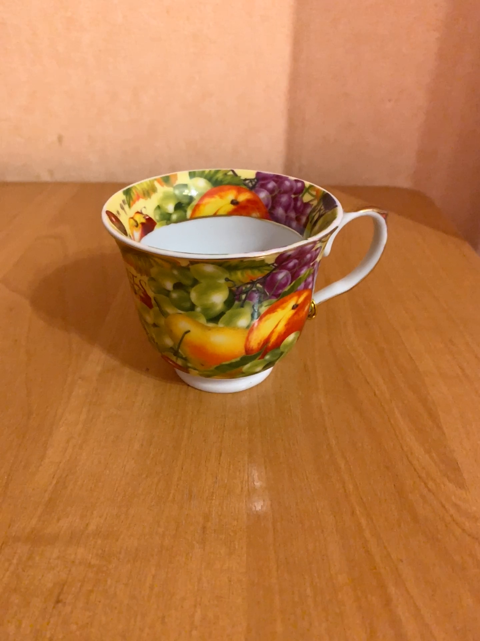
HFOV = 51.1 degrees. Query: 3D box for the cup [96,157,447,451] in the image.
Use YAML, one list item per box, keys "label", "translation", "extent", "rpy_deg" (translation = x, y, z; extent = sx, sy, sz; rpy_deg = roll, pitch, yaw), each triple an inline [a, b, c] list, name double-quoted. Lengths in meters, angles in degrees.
- label: "cup"
  translation: [0.005, -0.016, 0.206]
  extent: [0.106, 0.071, 0.086]
  rpy_deg: [-10, 34, -16]
